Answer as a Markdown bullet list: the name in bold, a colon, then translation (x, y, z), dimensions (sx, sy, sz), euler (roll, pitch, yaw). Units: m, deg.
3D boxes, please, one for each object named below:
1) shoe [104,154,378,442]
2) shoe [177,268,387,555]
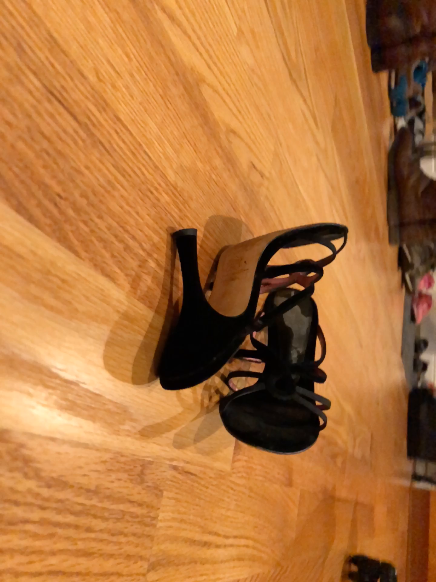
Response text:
- **shoe**: translation (0.042, -0.020, 0.333), dimensions (0.236, 0.104, 0.082), euler (-51, 138, -52)
- **shoe**: translation (0.072, 0.075, 0.400), dimensions (0.216, 0.104, 0.102), euler (-52, 136, -52)
